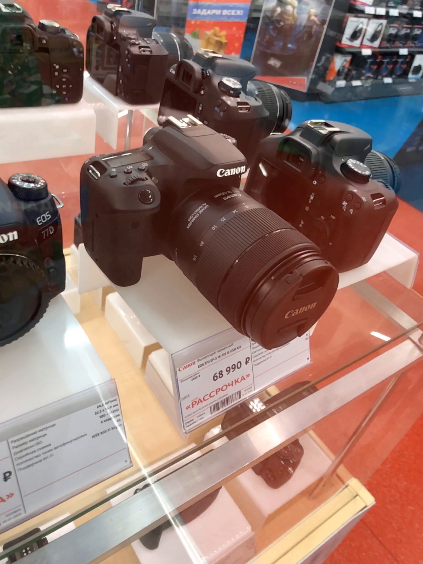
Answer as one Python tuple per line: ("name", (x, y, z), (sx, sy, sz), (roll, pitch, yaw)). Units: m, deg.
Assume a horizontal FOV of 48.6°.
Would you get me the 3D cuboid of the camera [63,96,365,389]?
("camera", (-0.012, -0.043, 0.352), (0.132, 0.119, 0.168), (-20, 50, -33))
